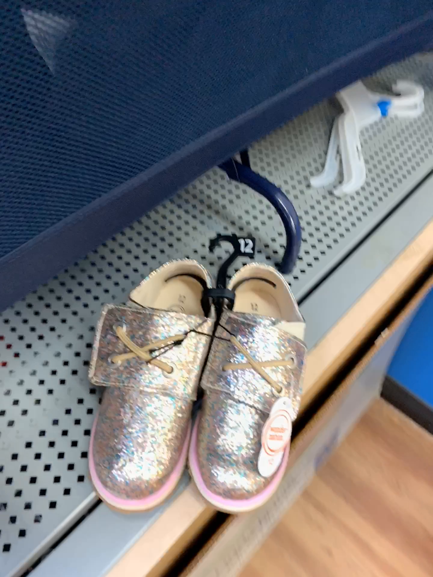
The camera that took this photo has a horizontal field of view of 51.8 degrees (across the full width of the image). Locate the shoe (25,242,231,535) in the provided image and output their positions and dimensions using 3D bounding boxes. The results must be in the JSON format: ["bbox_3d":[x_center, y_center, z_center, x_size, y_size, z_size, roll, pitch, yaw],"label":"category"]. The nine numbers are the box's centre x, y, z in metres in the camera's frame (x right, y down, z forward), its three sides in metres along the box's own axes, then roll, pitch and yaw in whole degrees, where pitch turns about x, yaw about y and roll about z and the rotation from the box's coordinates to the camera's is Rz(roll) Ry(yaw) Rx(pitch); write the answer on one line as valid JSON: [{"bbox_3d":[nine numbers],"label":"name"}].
[{"bbox_3d":[-0.053,0.067,0.349,0.083,0.070,0.199,13,54,5],"label":"shoe"}]

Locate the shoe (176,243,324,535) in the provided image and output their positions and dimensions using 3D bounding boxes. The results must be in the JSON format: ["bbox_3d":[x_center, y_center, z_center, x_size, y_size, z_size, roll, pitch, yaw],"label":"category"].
[{"bbox_3d":[0.032,0.067,0.351,0.086,0.060,0.205,10,54,2],"label":"shoe"}]
